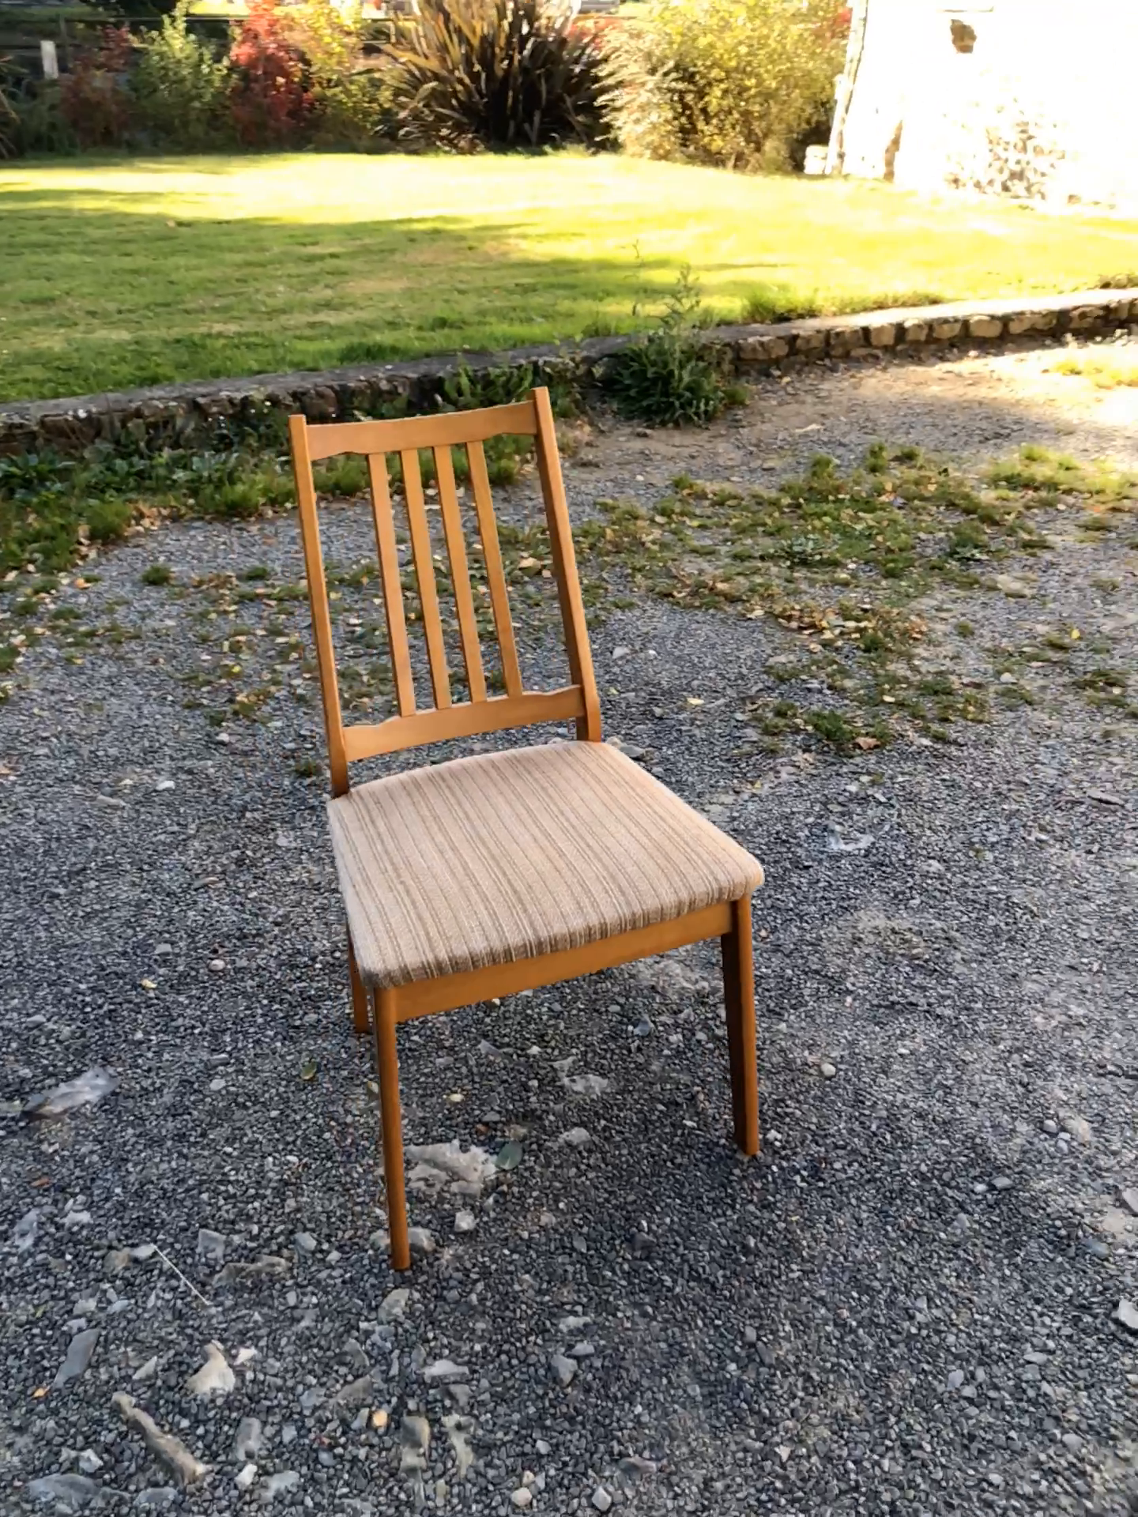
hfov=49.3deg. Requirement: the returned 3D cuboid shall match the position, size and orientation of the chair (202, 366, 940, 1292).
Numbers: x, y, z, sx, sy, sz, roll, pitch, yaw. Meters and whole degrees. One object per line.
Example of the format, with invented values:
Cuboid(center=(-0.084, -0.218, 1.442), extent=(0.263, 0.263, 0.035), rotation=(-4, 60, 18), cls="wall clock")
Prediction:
Cuboid(center=(-0.044, 0.041, 1.521), extent=(0.601, 0.845, 0.592), rotation=(-11, 33, -20), cls="chair")
